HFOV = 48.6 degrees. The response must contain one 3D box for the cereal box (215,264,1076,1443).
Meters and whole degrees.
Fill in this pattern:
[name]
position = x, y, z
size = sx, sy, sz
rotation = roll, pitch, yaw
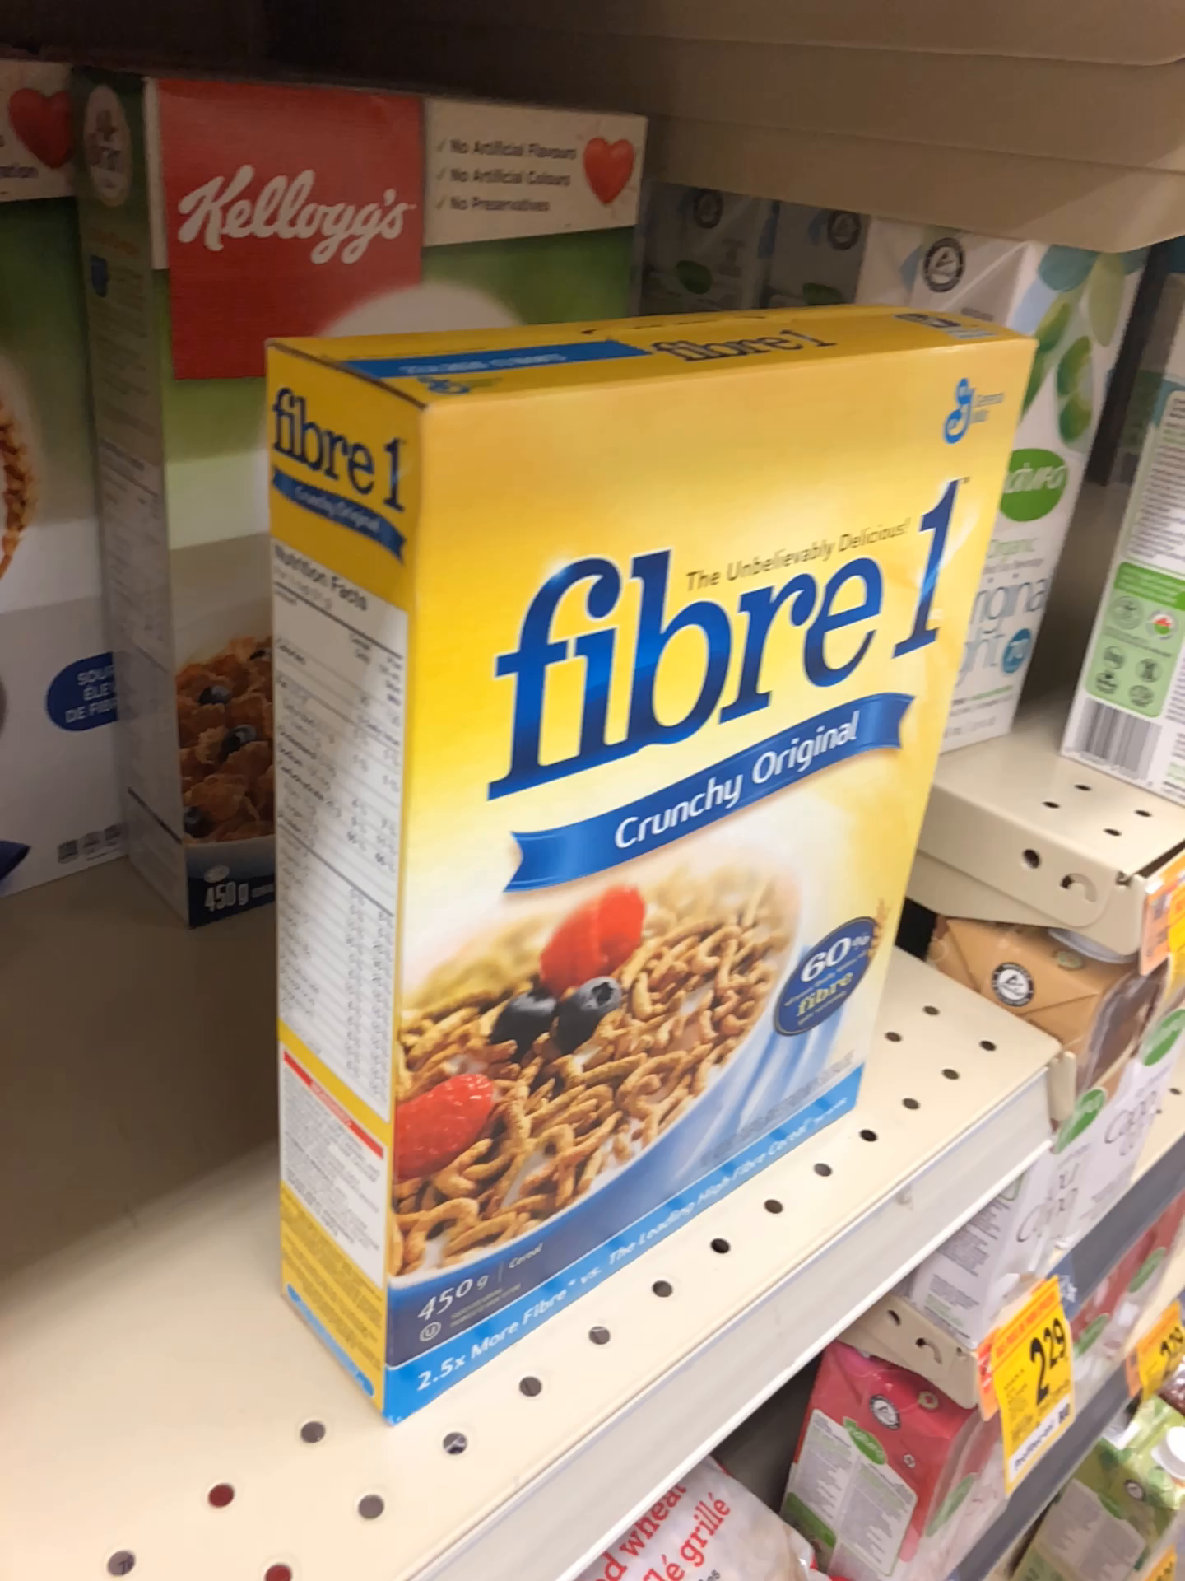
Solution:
[cereal box]
position = 0.014, 0.008, 0.353
size = 0.211, 0.268, 0.060
rotation = -20, 38, -39
